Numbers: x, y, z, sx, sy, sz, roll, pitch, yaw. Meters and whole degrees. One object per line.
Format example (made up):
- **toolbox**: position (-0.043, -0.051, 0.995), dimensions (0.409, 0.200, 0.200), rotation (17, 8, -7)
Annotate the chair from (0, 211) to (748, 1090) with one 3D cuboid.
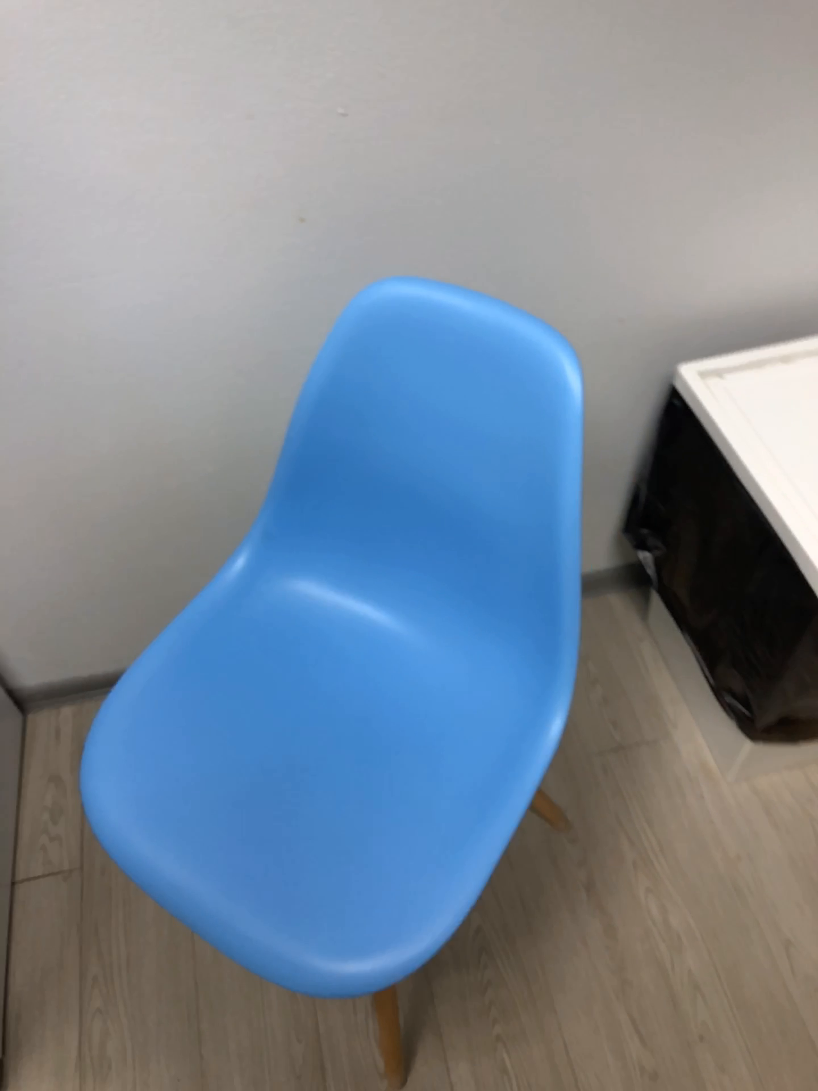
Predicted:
- **chair**: position (-0.062, 0.182, 0.978), dimensions (0.461, 0.775, 0.532), rotation (30, 58, 25)
